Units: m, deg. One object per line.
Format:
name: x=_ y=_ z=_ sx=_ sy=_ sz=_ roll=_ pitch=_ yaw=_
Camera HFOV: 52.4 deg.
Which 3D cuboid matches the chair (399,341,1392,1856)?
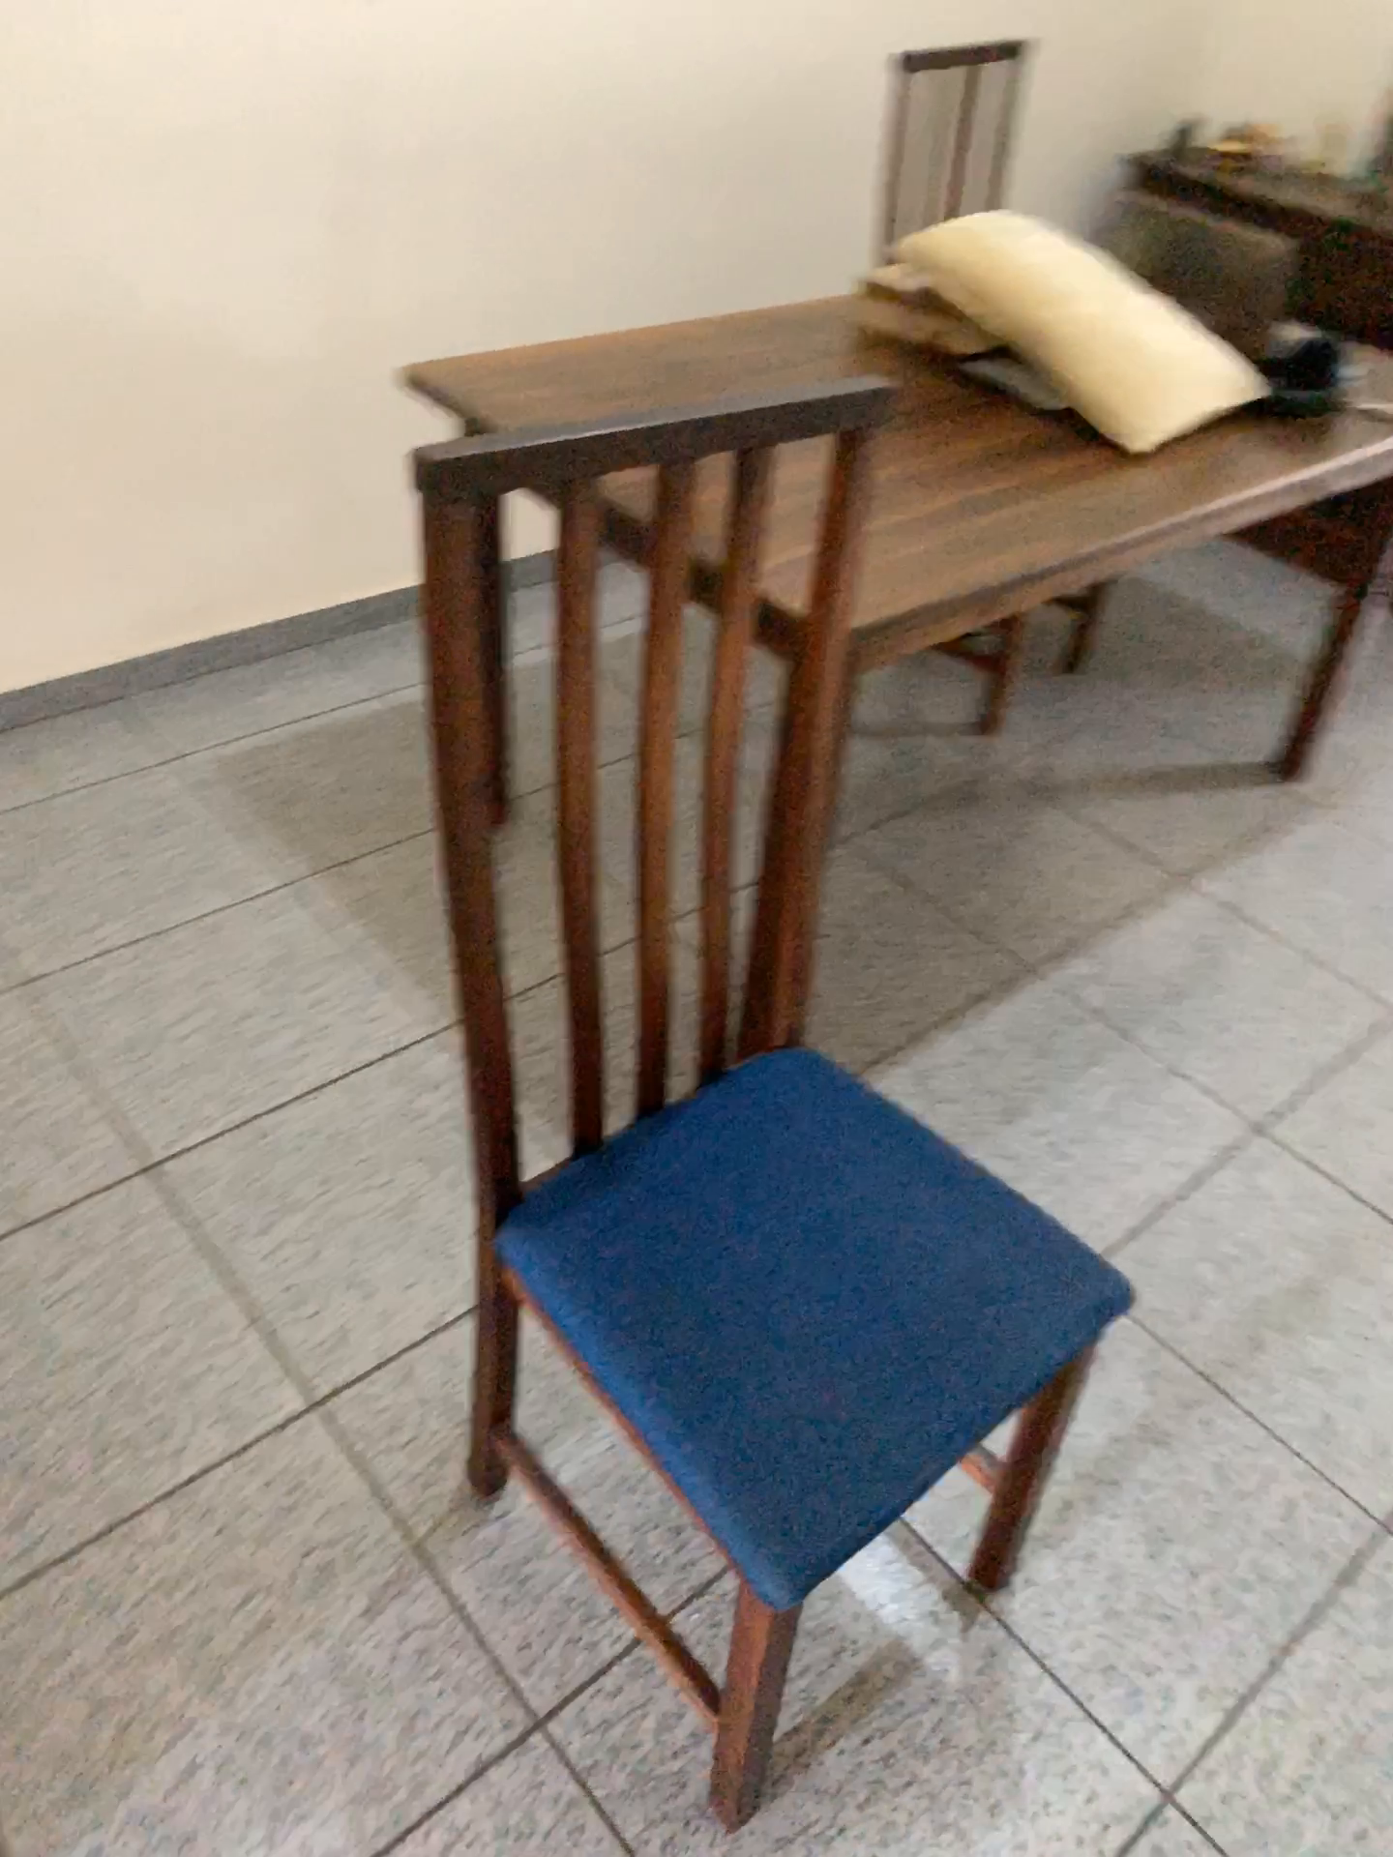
chair: x=0.101 y=0.195 z=1.174 sx=0.471 sy=1.123 sz=0.521 roll=-23 pitch=47 yaw=-34
